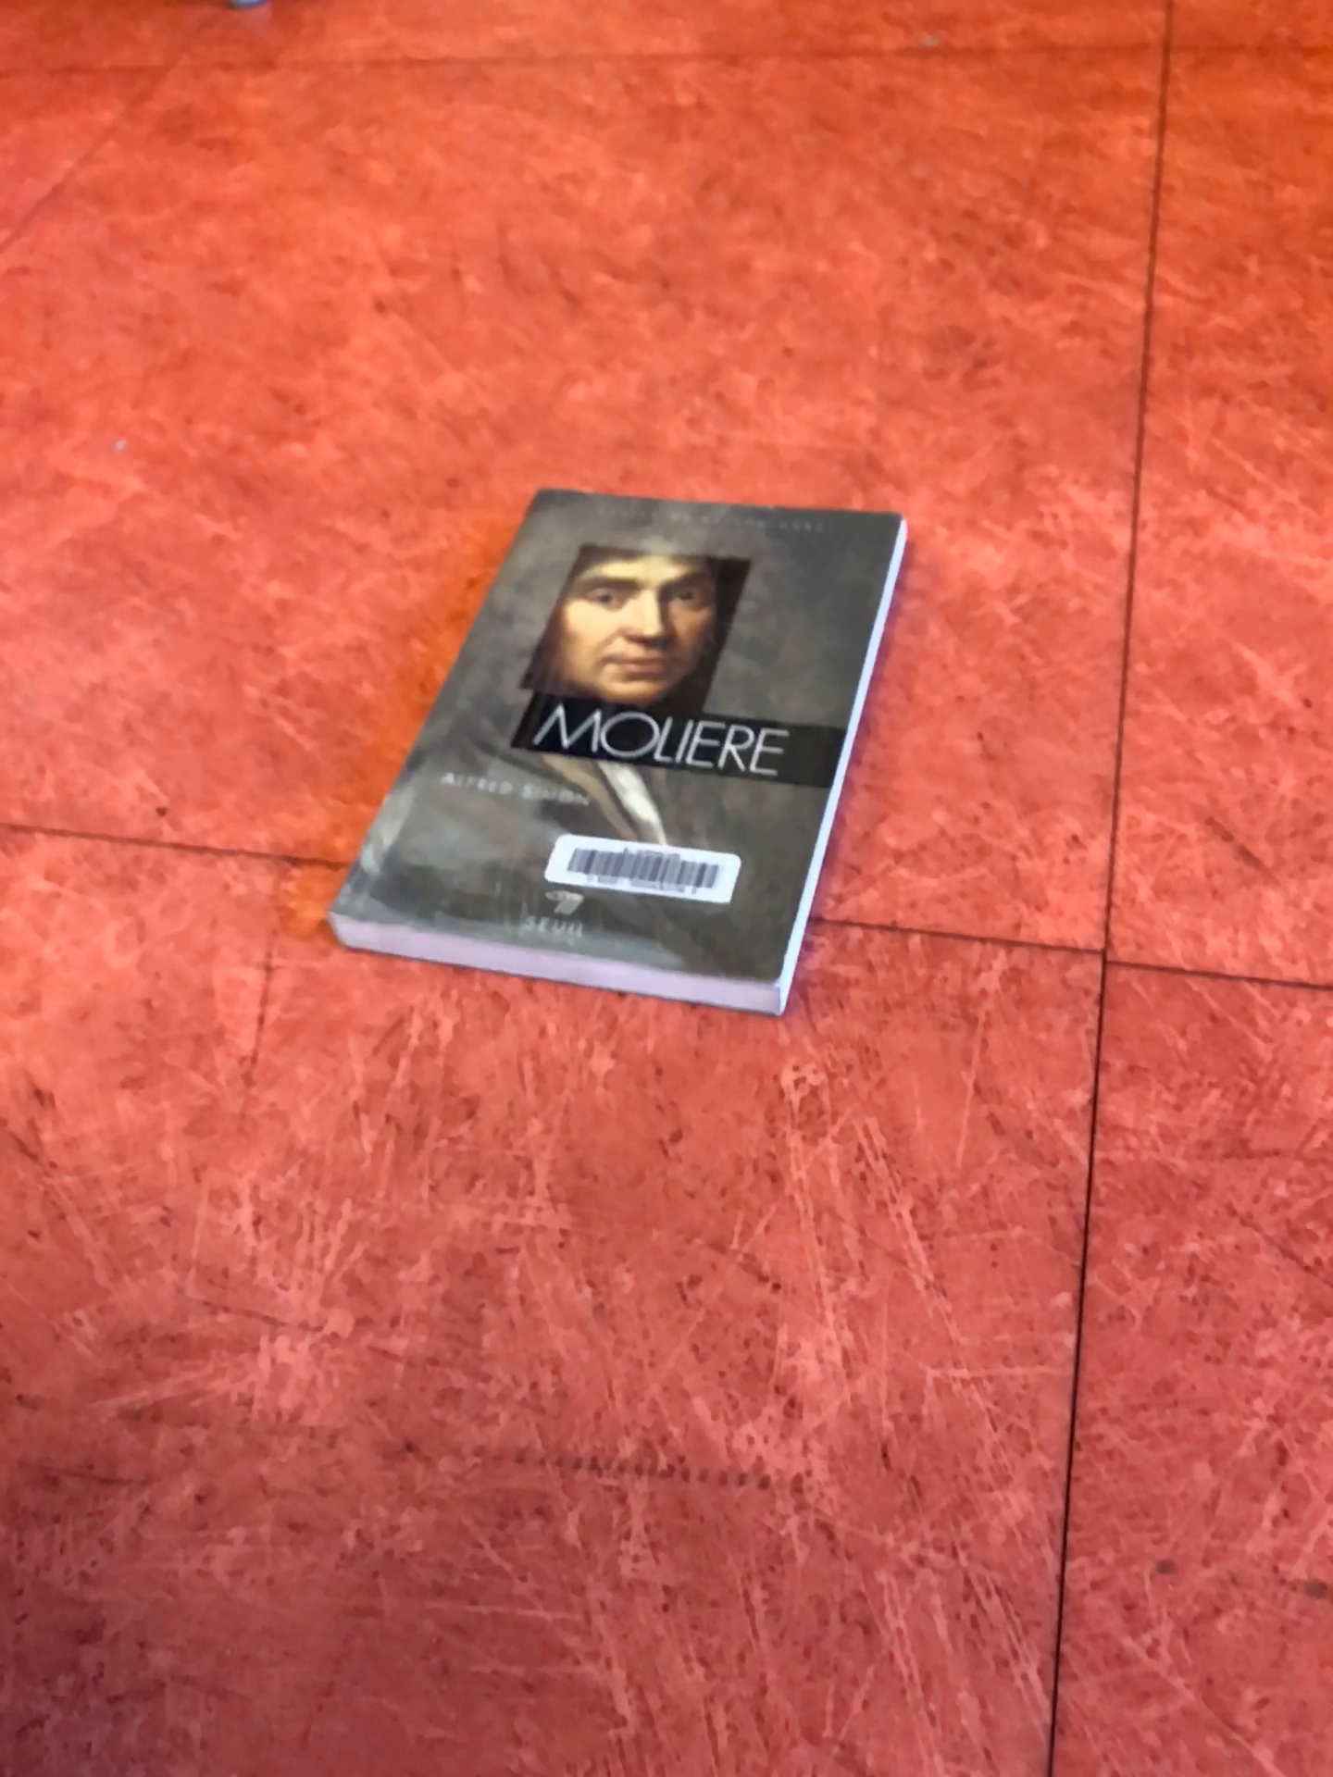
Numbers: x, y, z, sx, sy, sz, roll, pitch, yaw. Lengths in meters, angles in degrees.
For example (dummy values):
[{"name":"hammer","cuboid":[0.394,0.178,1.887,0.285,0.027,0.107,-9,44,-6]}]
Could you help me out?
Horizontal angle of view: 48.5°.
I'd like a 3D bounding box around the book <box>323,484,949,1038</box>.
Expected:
[{"name":"book","cuboid":[0.000,-0.048,0.424,0.134,0.015,0.184,8,53,14]}]
